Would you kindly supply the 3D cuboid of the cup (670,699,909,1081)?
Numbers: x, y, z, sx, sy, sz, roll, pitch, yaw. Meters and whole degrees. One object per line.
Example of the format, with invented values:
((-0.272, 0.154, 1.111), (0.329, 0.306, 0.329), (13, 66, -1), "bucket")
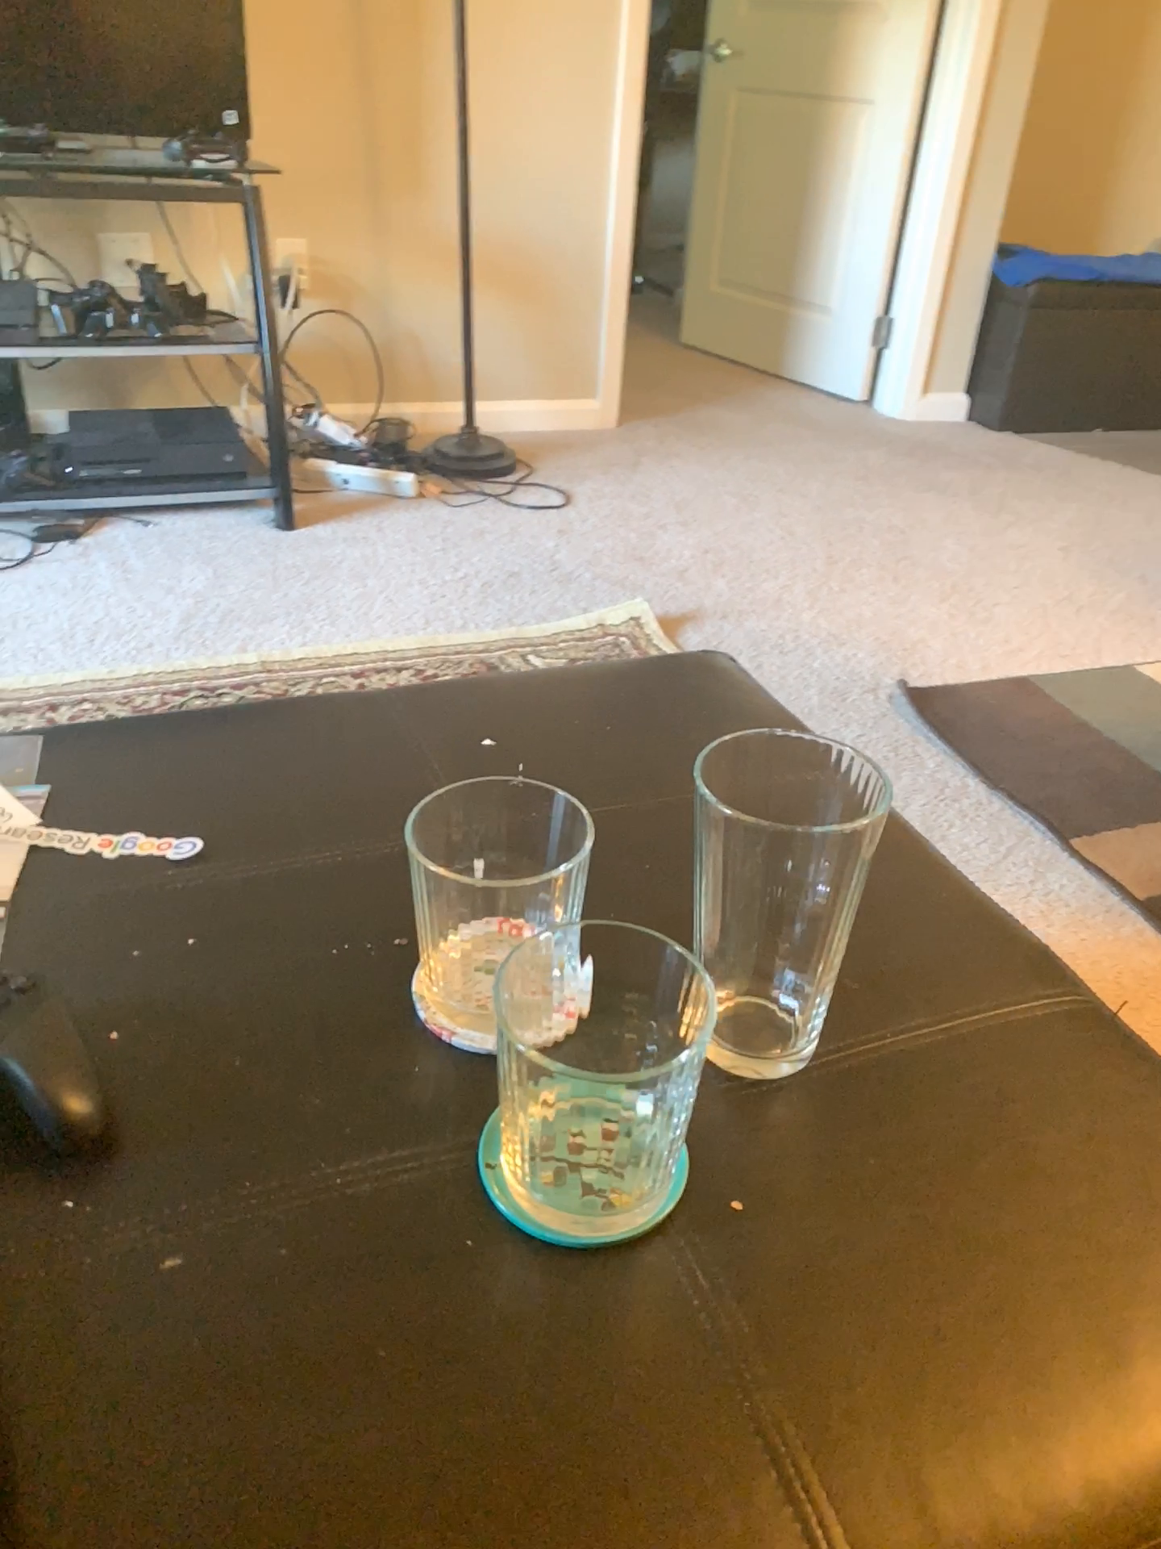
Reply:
((0.088, 0.052, 0.541), (0.080, 0.139, 0.091), (5, 31, 2), "cup")

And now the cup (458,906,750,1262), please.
((0.009, 0.120, 0.471), (0.100, 0.089, 0.091), (5, 31, 2), "cup")

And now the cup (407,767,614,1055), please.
((-0.034, 0.068, 0.598), (0.090, 0.109, 0.080), (5, 31, 2), "cup")
